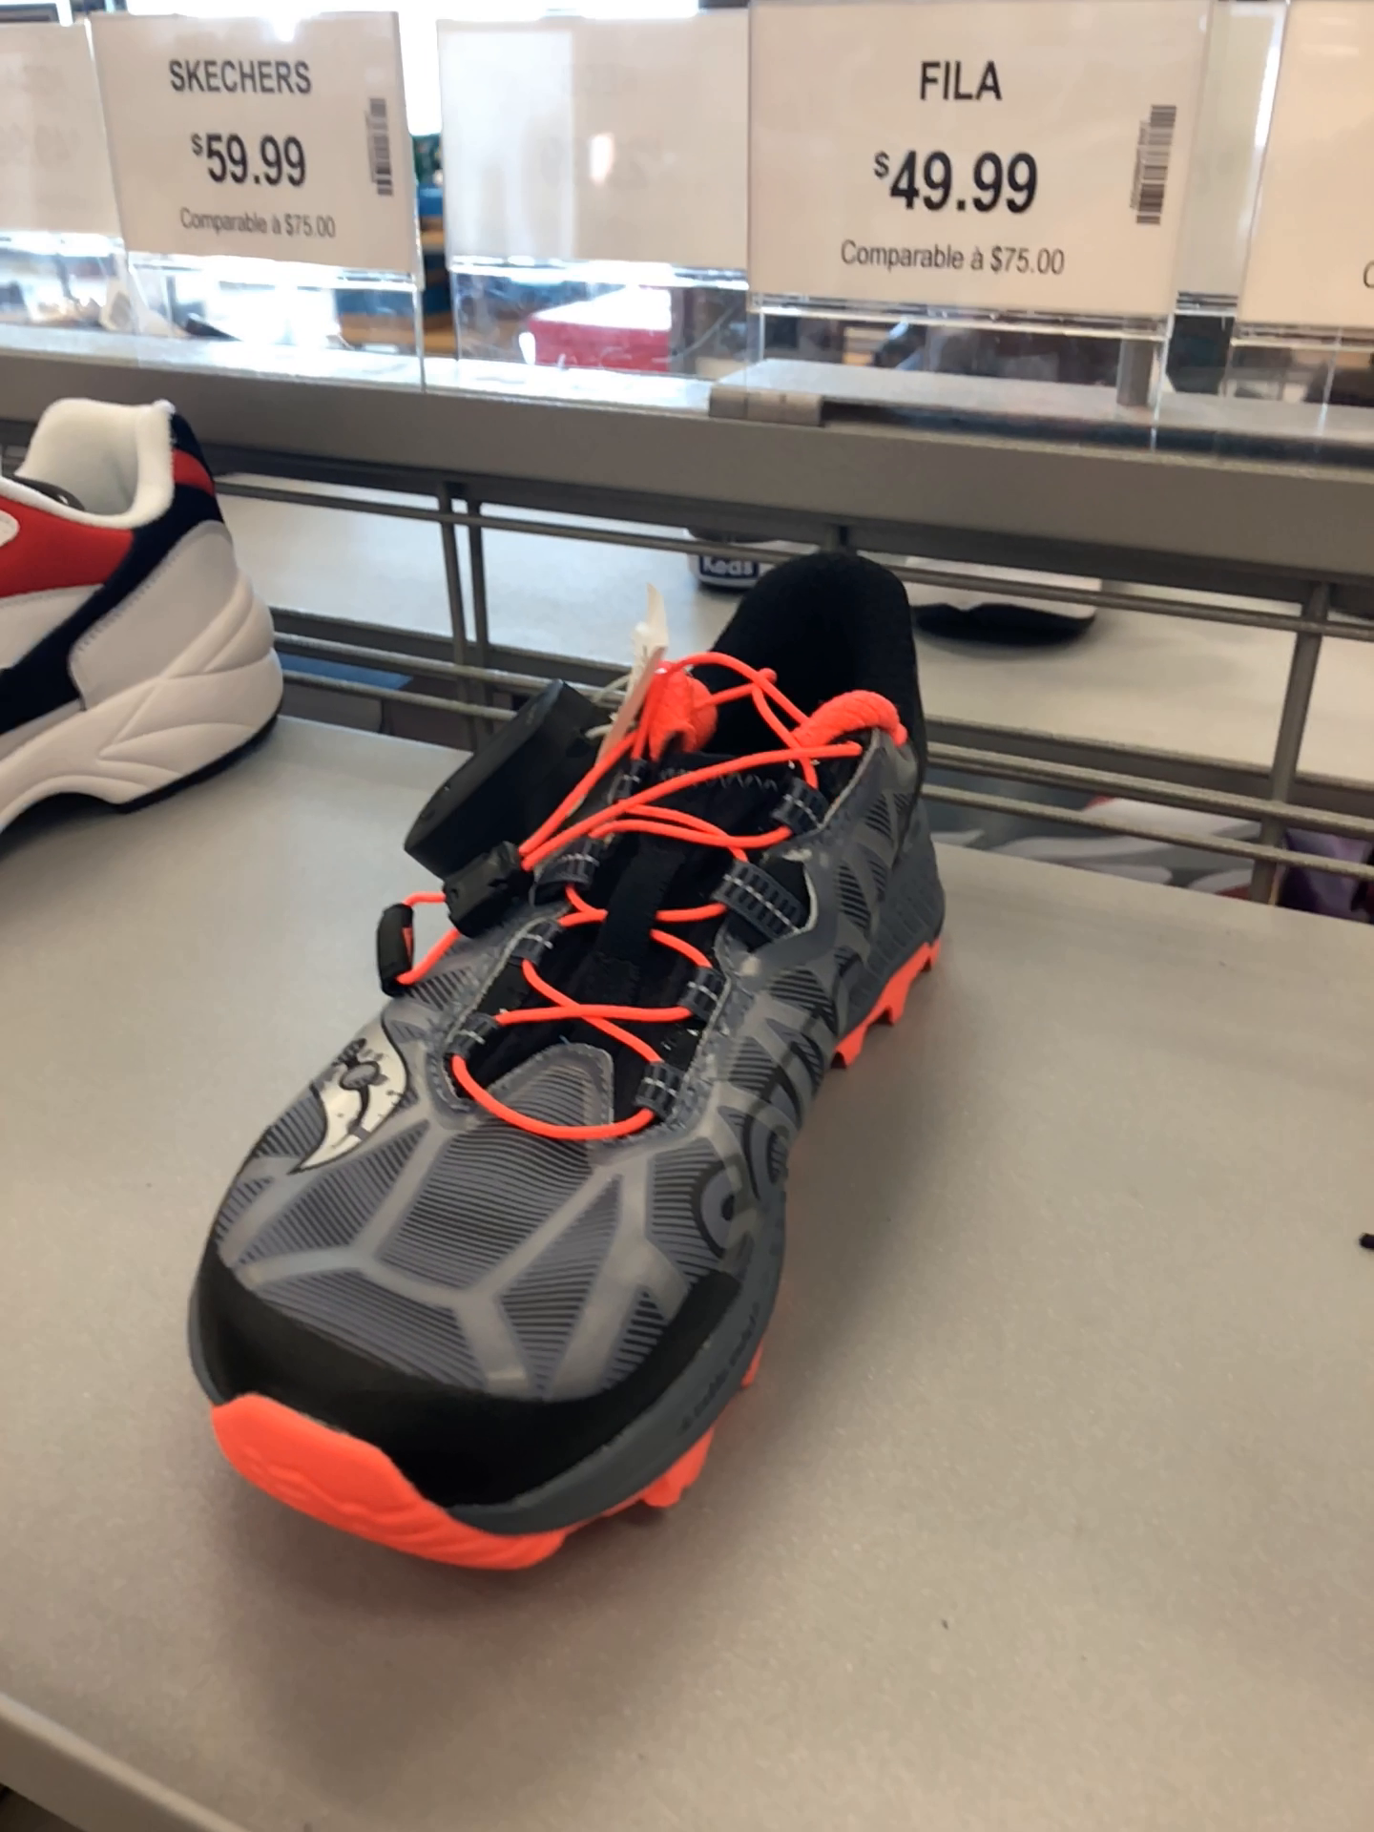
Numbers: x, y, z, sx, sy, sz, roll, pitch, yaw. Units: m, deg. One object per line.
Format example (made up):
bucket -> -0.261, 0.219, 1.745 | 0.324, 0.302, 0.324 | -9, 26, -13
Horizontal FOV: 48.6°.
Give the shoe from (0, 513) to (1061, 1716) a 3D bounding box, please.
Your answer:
shoe -> -0.004, 0.002, 0.349 | 0.110, 0.109, 0.292 | 11, 31, 21
